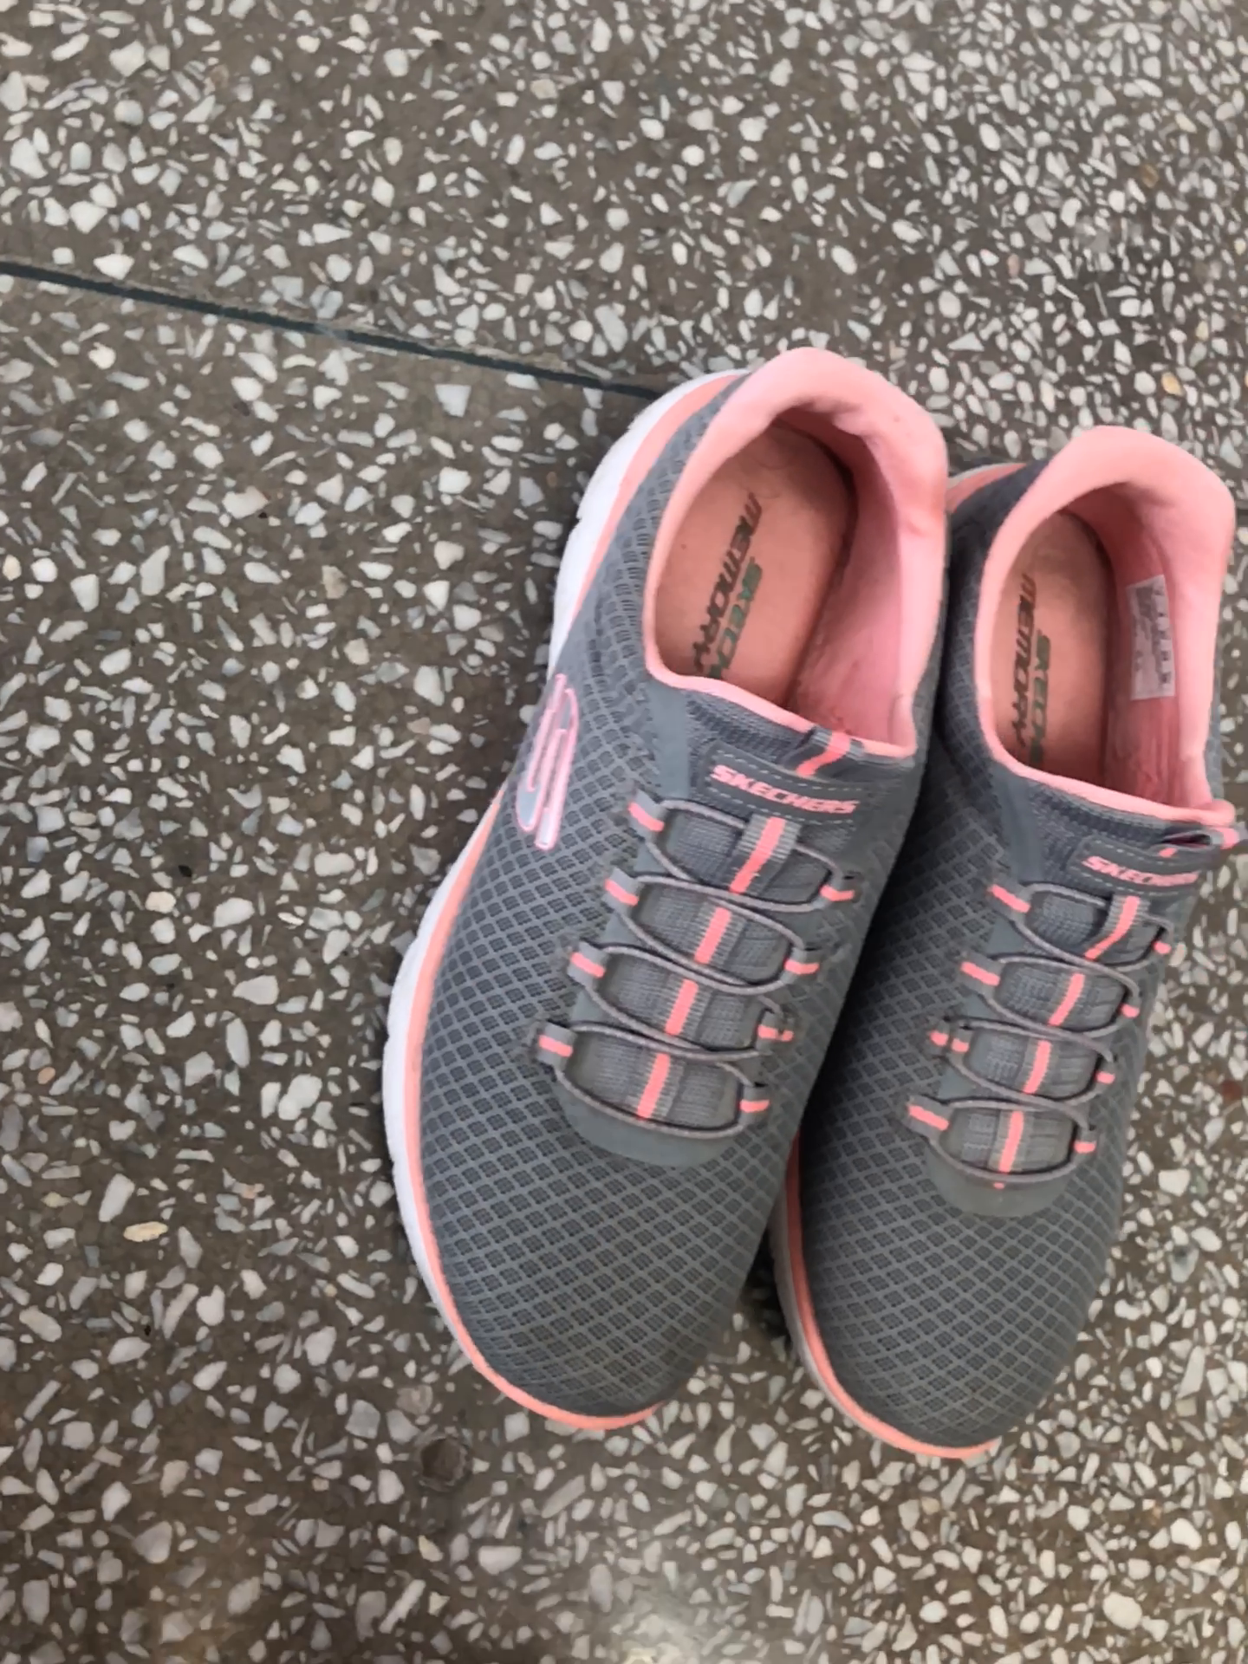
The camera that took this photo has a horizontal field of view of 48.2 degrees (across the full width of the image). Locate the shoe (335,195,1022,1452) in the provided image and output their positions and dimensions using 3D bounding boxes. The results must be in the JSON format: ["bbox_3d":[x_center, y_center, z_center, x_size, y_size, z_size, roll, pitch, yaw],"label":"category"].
[{"bbox_3d":[0.008,0.000,0.329,0.090,0.100,0.240,14,80,-14],"label":"shoe"}]

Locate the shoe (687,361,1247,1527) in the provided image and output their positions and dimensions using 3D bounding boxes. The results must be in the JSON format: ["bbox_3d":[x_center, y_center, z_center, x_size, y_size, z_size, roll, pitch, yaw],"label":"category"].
[{"bbox_3d":[0.095,0.026,0.341,0.090,0.100,0.230,14,80,-14],"label":"shoe"}]
